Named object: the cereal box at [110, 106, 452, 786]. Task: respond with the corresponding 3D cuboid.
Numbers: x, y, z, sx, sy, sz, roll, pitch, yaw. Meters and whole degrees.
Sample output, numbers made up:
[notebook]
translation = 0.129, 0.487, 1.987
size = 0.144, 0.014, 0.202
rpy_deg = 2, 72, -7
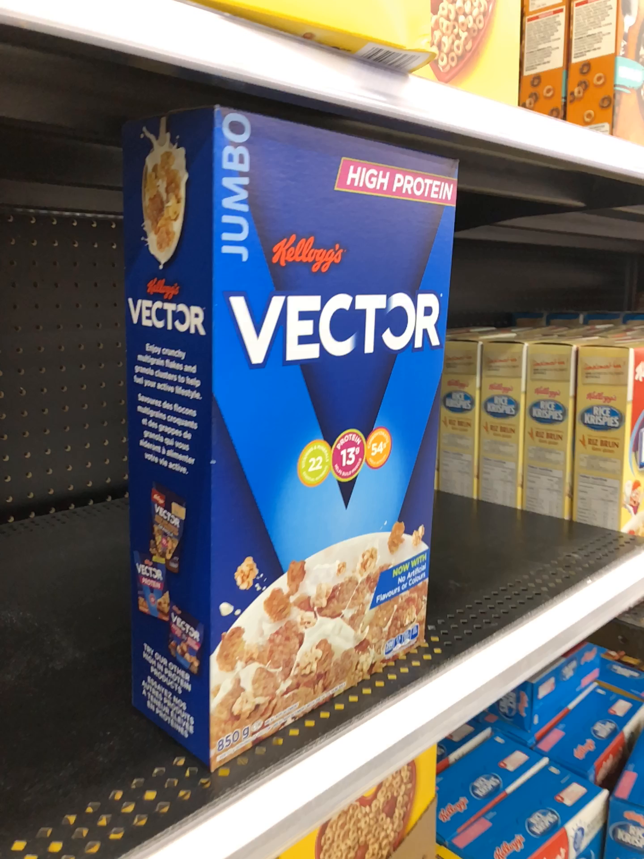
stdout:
[cereal box]
translation = -0.018, 0.004, 0.453
size = 0.080, 0.349, 0.200
rpy_deg = 13, 16, 42
